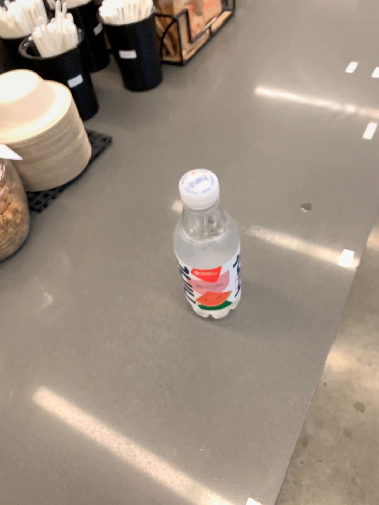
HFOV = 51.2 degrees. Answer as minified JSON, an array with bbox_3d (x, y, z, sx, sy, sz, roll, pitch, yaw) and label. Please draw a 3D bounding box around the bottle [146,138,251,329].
[{"bbox_3d":[0.016,-0.006,0.405,0.070,0.199,0.070,-4,54,5],"label":"bottle"}]
